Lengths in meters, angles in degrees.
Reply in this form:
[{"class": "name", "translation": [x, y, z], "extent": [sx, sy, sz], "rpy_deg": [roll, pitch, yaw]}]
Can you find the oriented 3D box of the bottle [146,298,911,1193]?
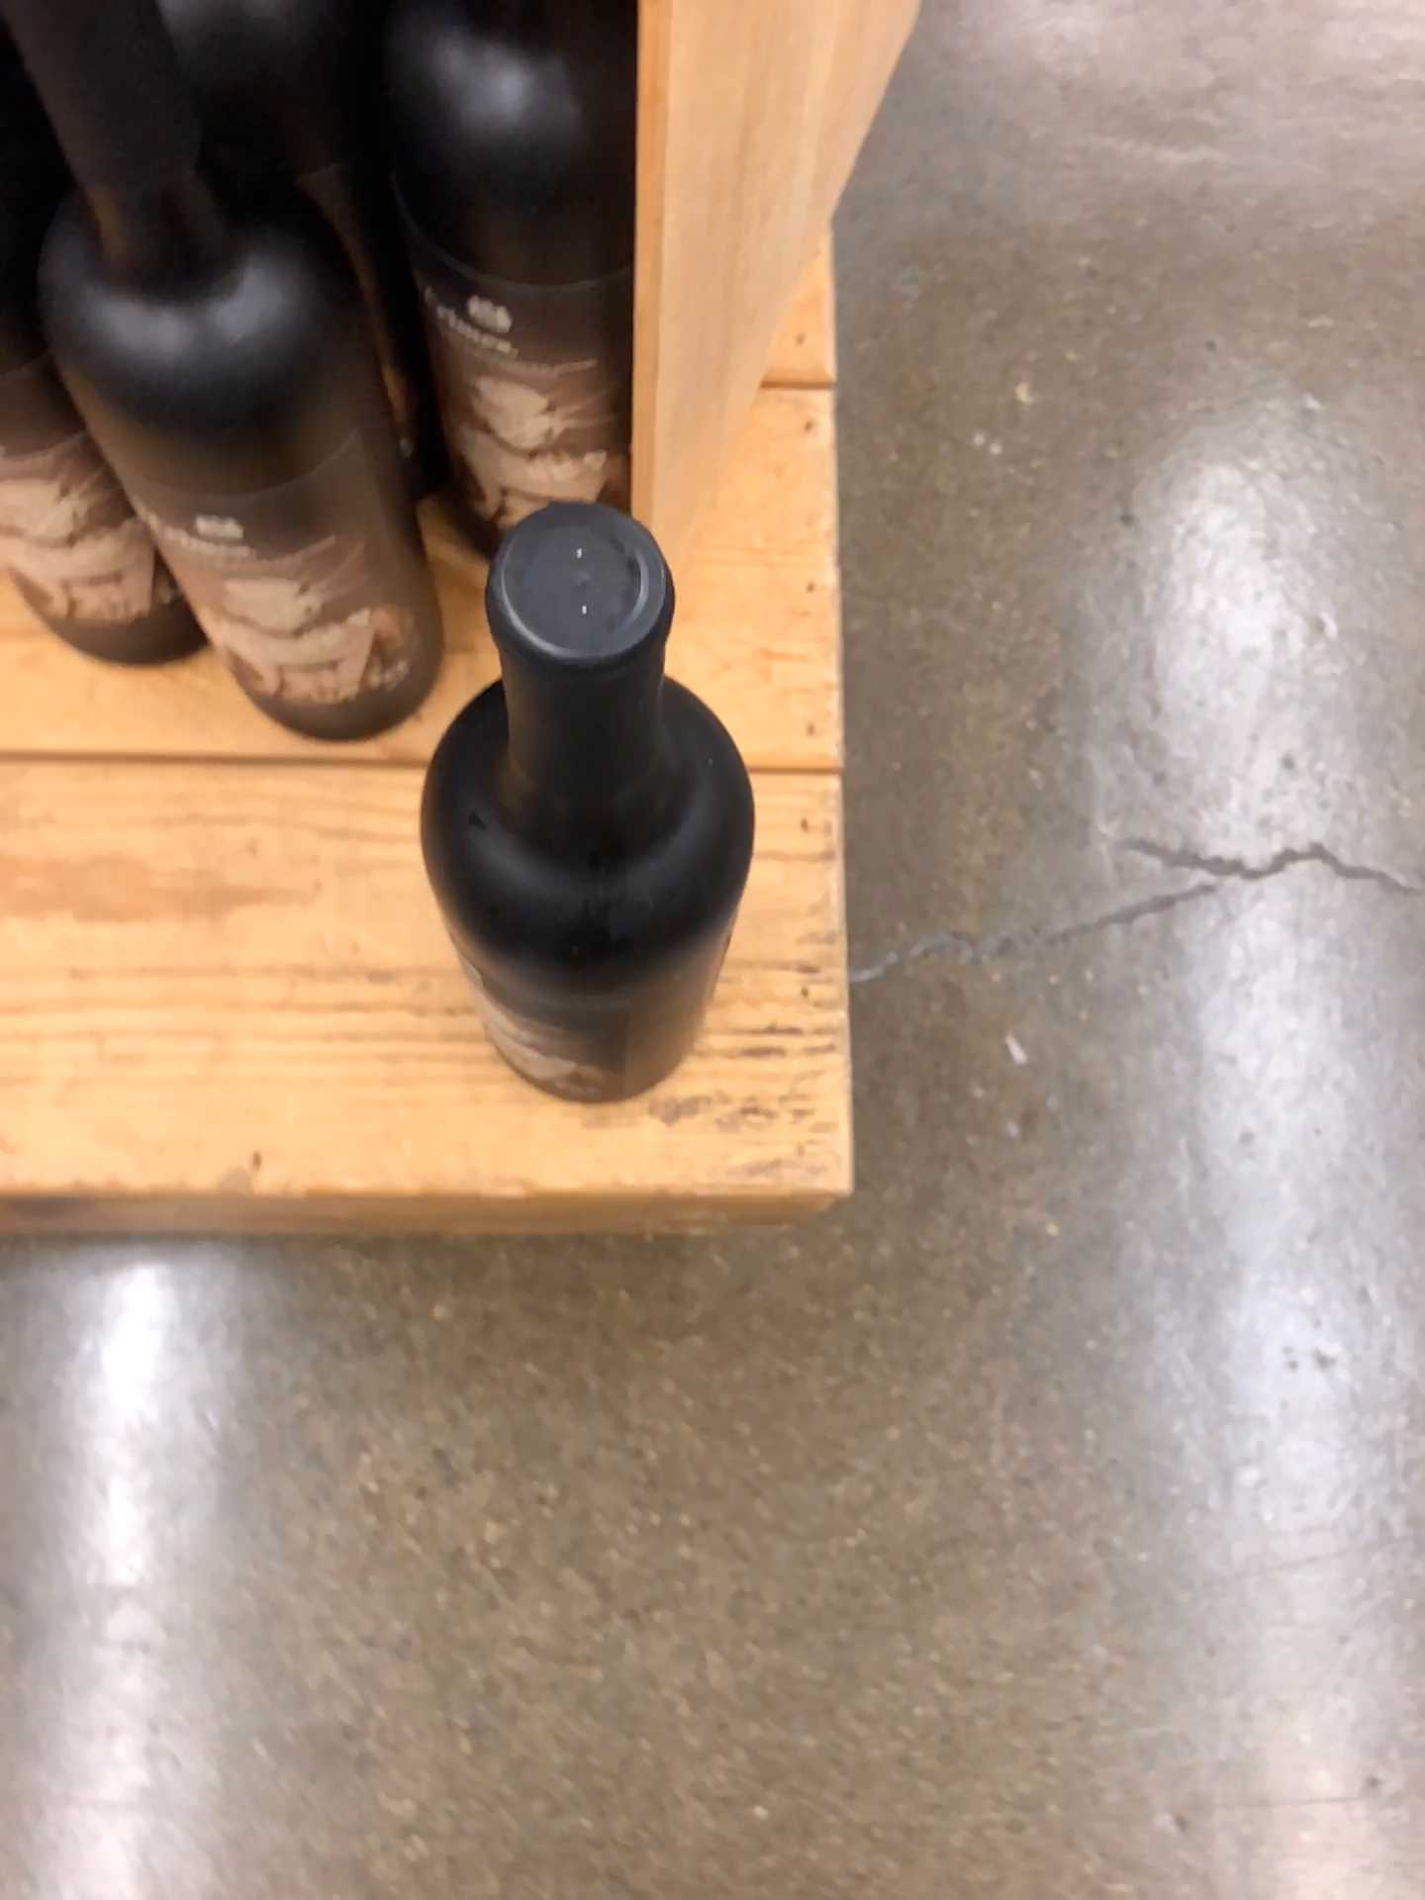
[{"class": "bottle", "translation": [-0.037, -0.012, 0.380], "extent": [0.080, 0.300, 0.080], "rpy_deg": [1, 76, -4]}]
